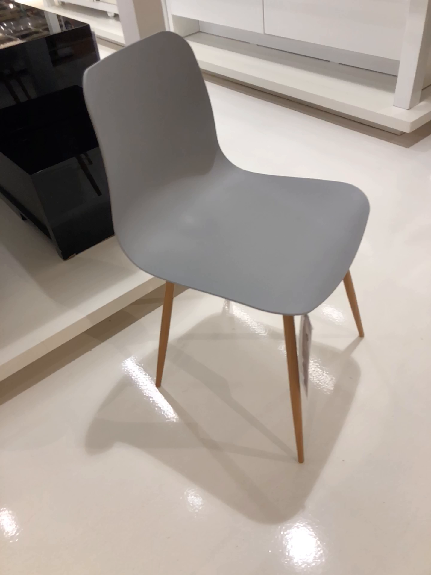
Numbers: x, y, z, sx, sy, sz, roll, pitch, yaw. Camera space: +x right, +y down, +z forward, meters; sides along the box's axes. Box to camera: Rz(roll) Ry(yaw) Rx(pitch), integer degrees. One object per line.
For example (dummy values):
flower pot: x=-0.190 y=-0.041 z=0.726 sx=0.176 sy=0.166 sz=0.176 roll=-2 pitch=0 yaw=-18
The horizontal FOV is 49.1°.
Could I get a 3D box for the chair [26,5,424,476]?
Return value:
chair: x=0.072 y=-0.089 z=1.034 sx=0.471 sy=0.814 sz=0.472 roll=19 pitch=49 yaw=26
